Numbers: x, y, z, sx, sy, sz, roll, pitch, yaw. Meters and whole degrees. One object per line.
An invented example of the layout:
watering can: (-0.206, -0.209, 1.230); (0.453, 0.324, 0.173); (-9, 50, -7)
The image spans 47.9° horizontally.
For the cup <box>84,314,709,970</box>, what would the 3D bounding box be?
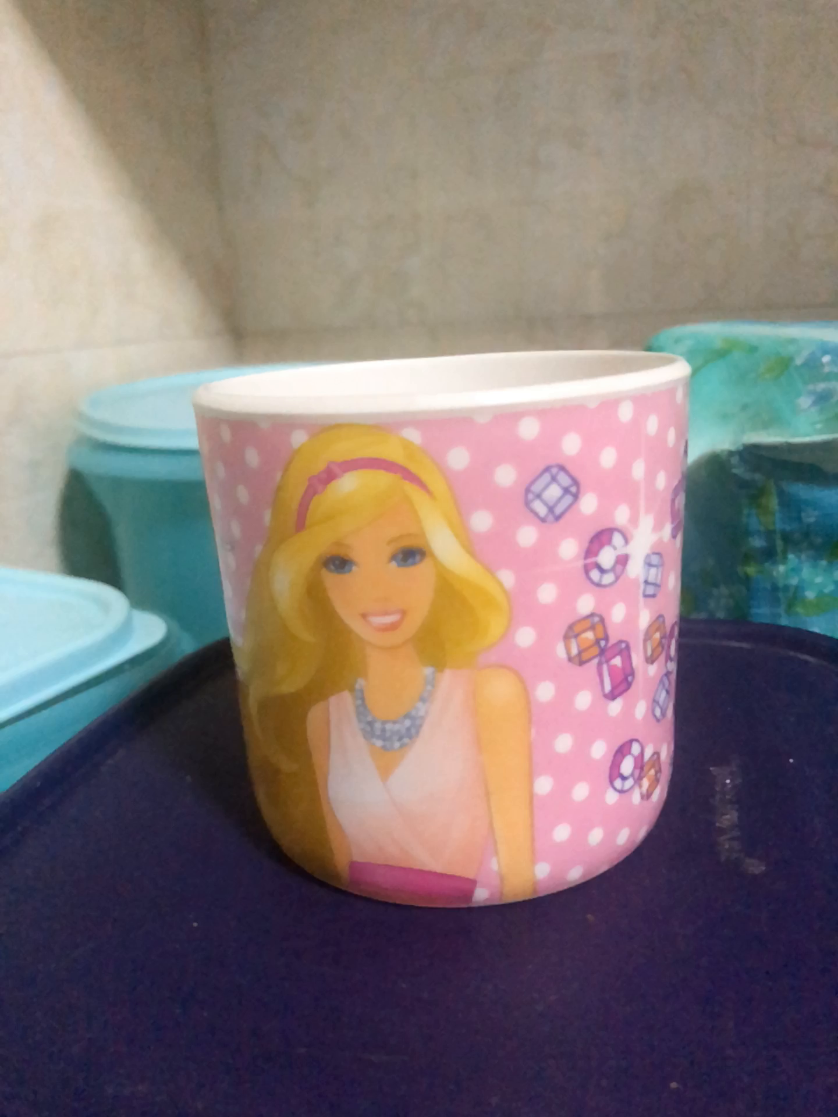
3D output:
cup: (0.013, -0.002, 0.180); (0.080, 0.080, 0.121); (1, 15, 16)
